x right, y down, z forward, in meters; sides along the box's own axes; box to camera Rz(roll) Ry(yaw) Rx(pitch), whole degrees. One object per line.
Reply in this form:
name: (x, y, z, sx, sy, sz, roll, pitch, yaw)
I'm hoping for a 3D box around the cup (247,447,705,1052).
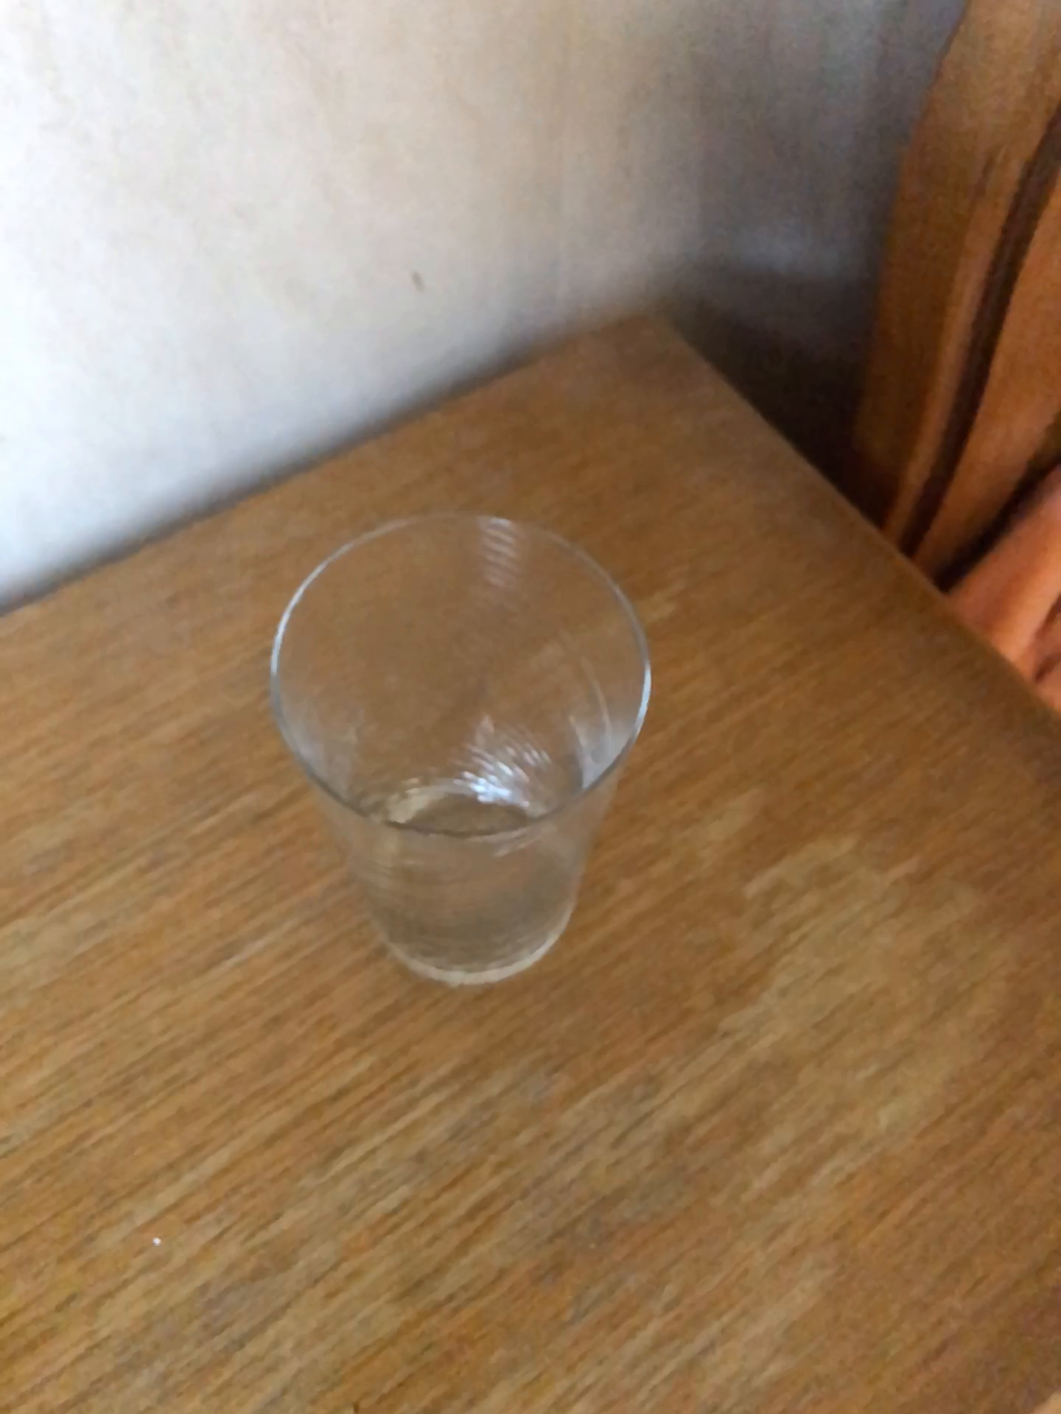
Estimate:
cup: (-0.015, 0.016, 0.280, 0.070, 0.119, 0.080, -13, 60, -10)
